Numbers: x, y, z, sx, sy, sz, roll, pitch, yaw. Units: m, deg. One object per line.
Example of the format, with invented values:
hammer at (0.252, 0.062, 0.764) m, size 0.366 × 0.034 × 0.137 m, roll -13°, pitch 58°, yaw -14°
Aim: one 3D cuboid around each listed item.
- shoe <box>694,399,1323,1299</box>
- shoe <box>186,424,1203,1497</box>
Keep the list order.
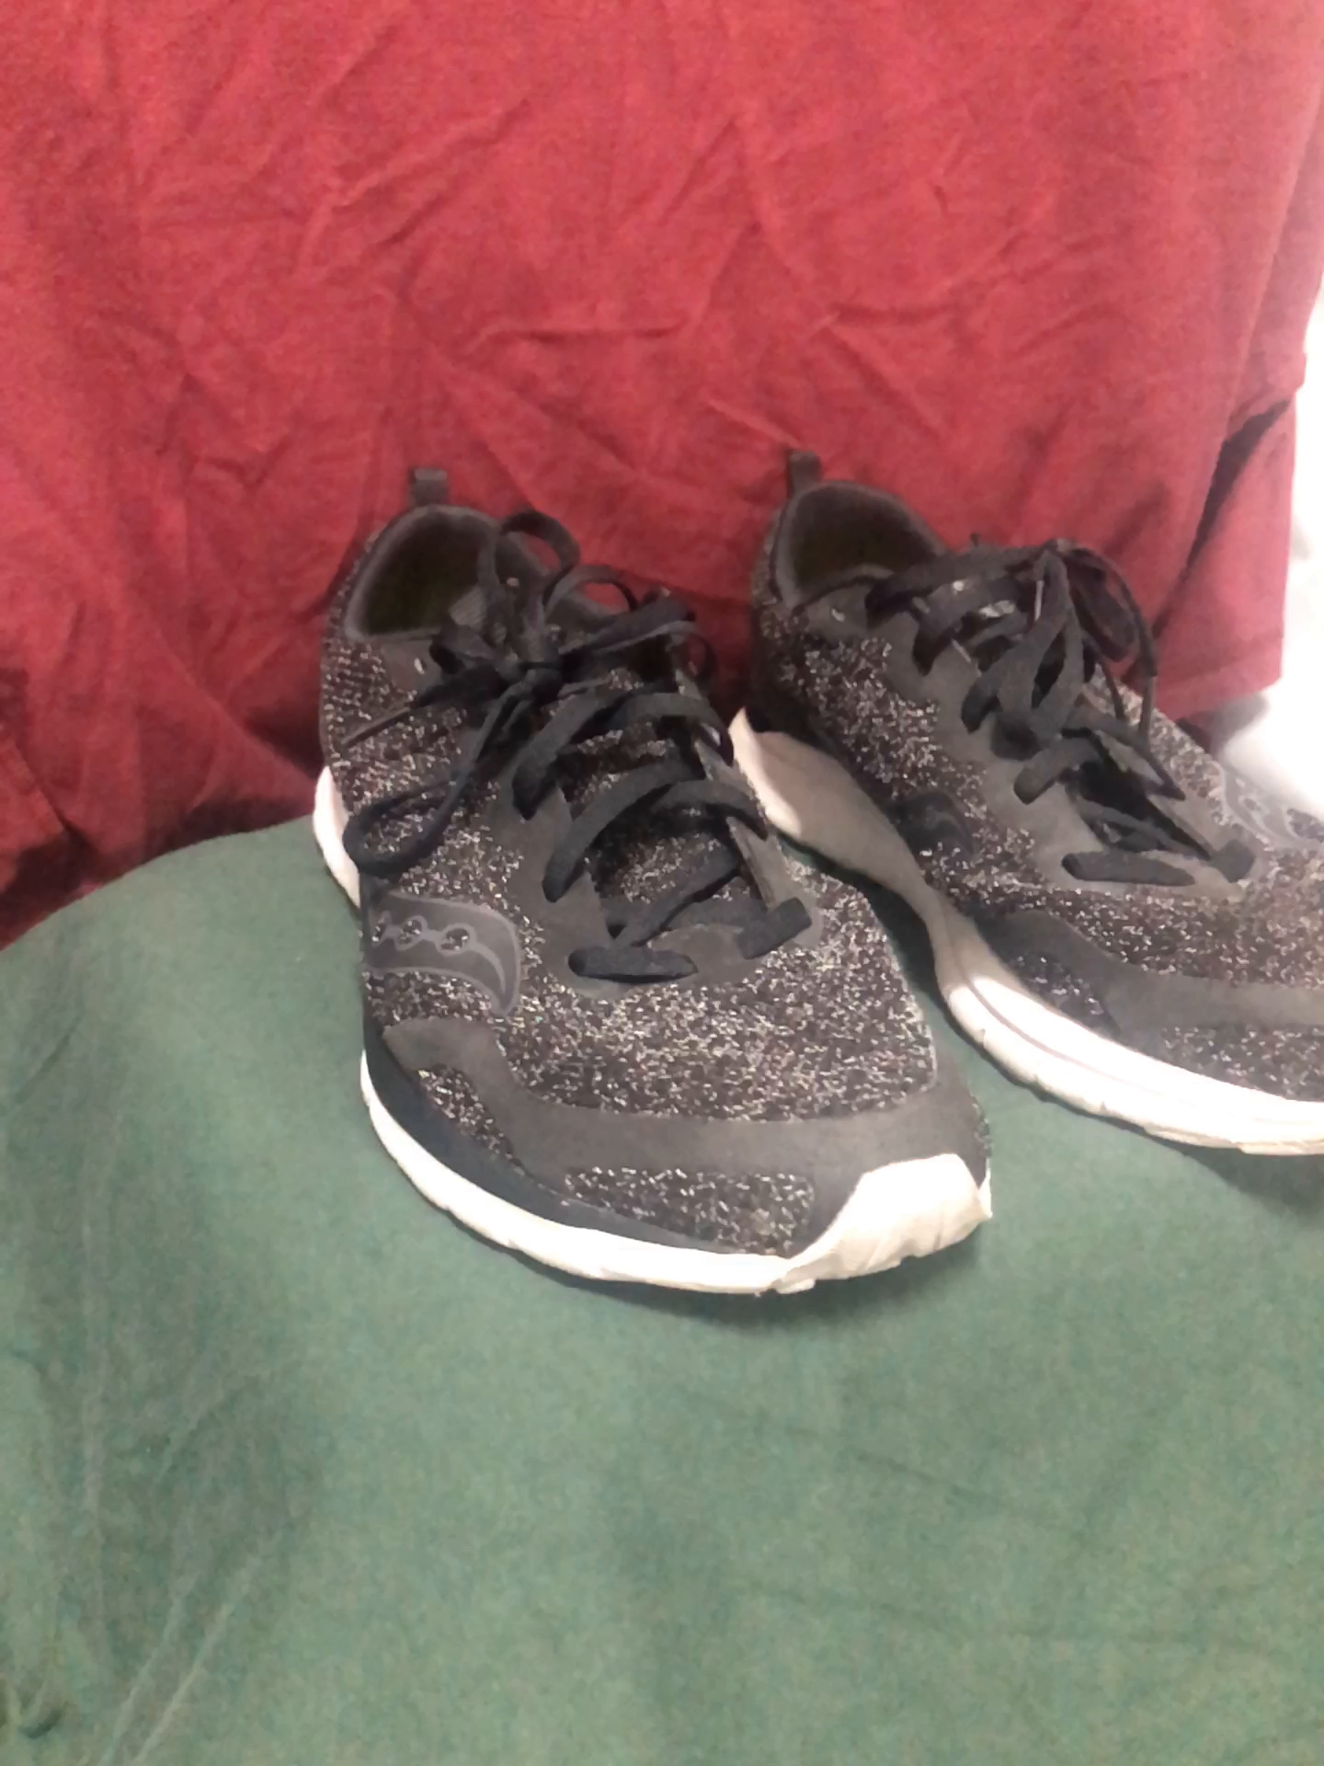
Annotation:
shoe at (0.113, -0.039, 0.374) m, size 0.120 × 0.099 × 0.262 m, roll -12°, pitch 33°, yaw -18°
shoe at (-0.023, -0.020, 0.341) m, size 0.120 × 0.099 × 0.272 m, roll -13°, pitch 33°, yaw -19°
